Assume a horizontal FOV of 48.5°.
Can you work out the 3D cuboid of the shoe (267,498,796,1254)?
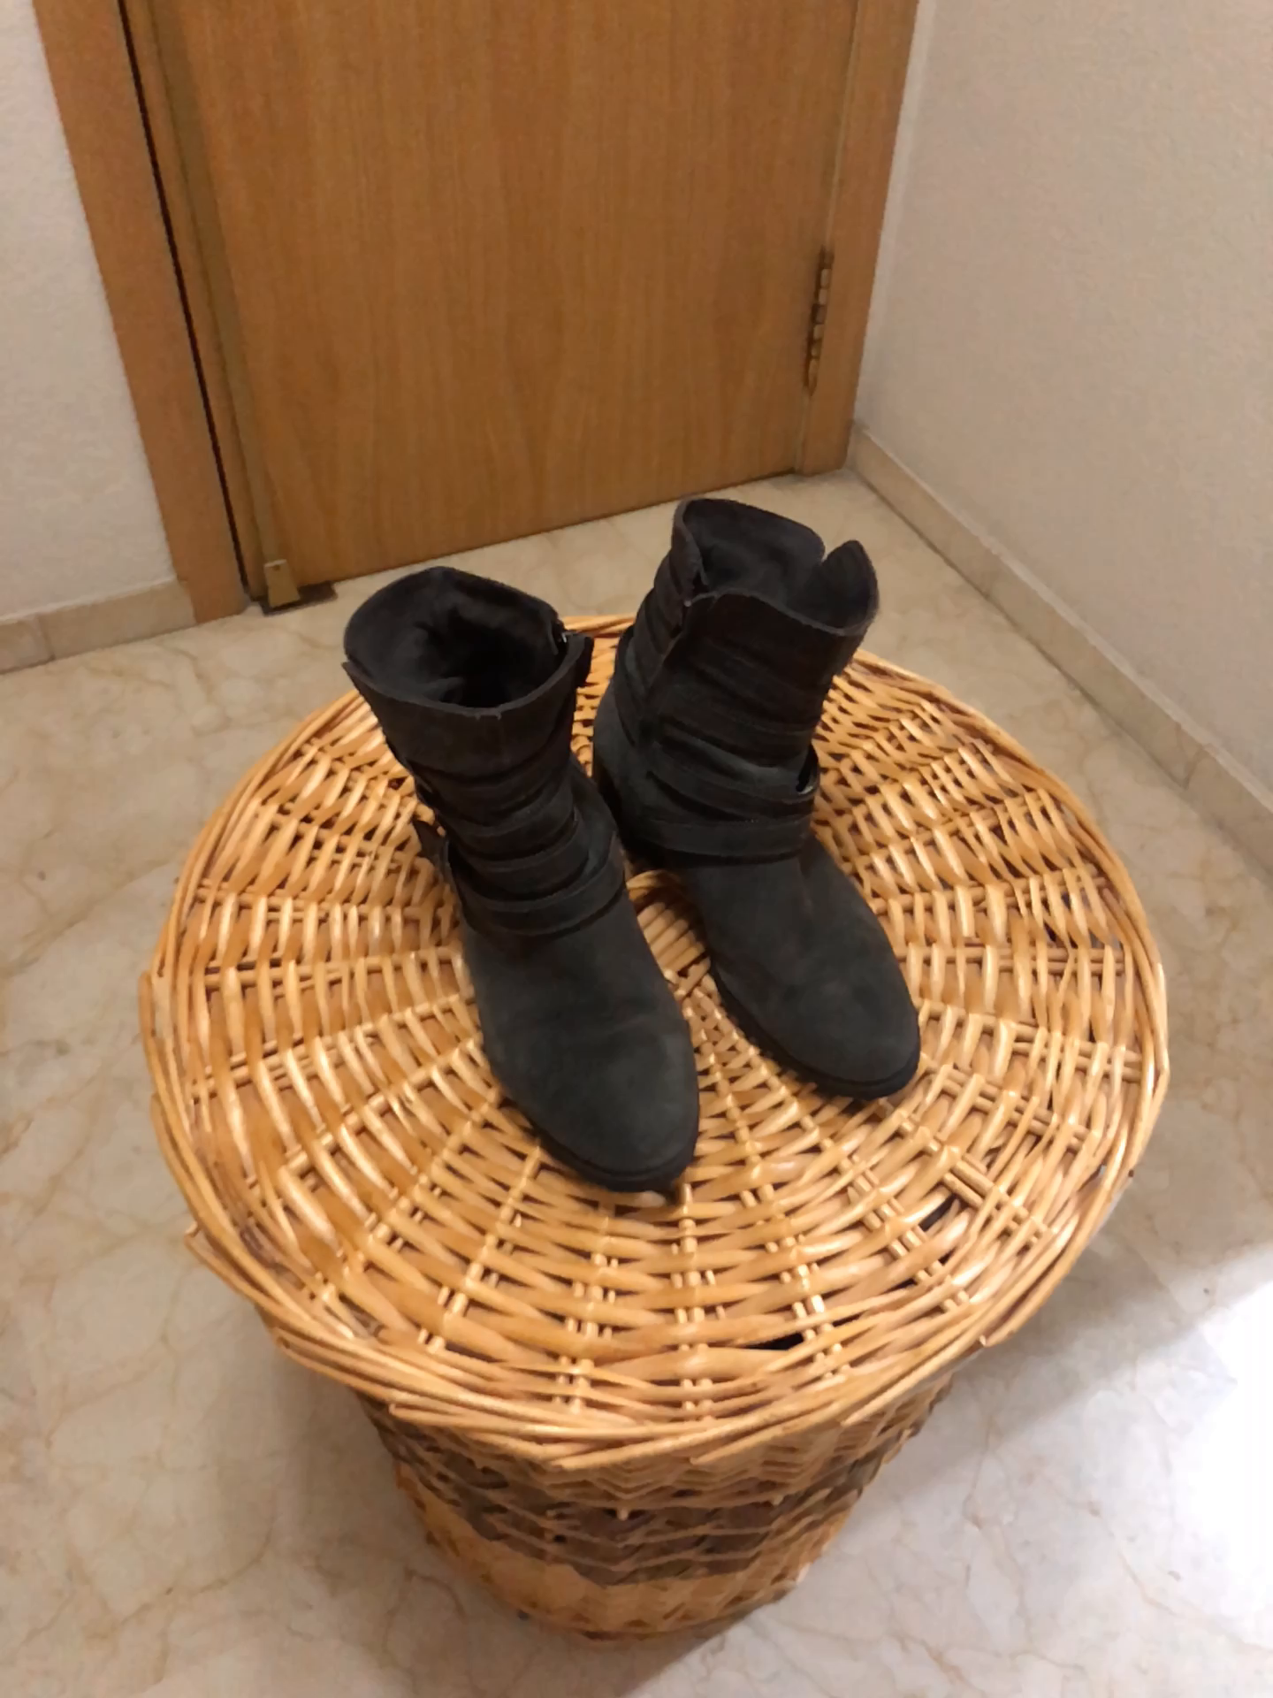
[{"bbox_3d":[-0.046,0.004,0.609,0.110,0.169,0.261,-23,52,-13],"label":"shoe"}]

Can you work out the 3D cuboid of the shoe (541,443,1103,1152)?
[{"bbox_3d":[0.060,-0.032,0.638,0.110,0.169,0.261,-18,50,-19],"label":"shoe"}]
